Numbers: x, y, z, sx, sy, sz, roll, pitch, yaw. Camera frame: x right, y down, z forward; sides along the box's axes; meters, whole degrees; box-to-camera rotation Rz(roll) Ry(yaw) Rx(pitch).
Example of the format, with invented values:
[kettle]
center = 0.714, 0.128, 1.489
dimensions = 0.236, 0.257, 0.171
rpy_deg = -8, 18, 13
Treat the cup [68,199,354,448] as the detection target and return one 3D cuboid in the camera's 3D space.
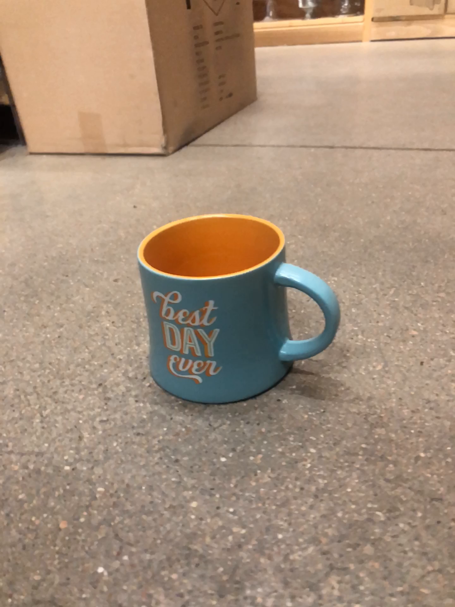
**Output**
[cup]
center = -0.004, 0.002, 0.336
dimensions = 0.143, 0.097, 0.108
rpy_deg = 12, 35, 26
